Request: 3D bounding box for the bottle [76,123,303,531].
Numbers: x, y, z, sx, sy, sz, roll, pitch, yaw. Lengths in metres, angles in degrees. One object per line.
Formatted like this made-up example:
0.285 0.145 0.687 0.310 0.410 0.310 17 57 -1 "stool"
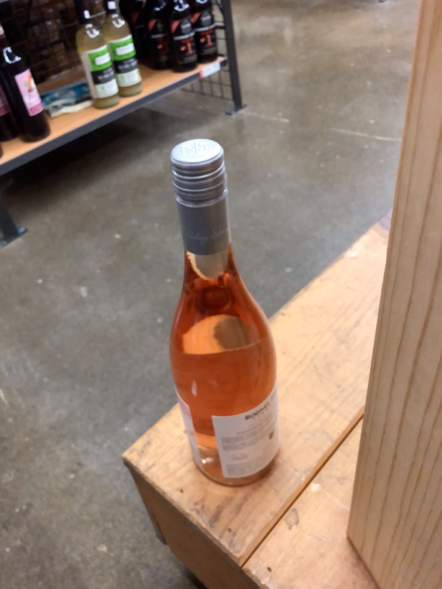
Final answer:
0.002 0.048 0.354 0.082 0.309 0.080 -5 42 5 "bottle"
